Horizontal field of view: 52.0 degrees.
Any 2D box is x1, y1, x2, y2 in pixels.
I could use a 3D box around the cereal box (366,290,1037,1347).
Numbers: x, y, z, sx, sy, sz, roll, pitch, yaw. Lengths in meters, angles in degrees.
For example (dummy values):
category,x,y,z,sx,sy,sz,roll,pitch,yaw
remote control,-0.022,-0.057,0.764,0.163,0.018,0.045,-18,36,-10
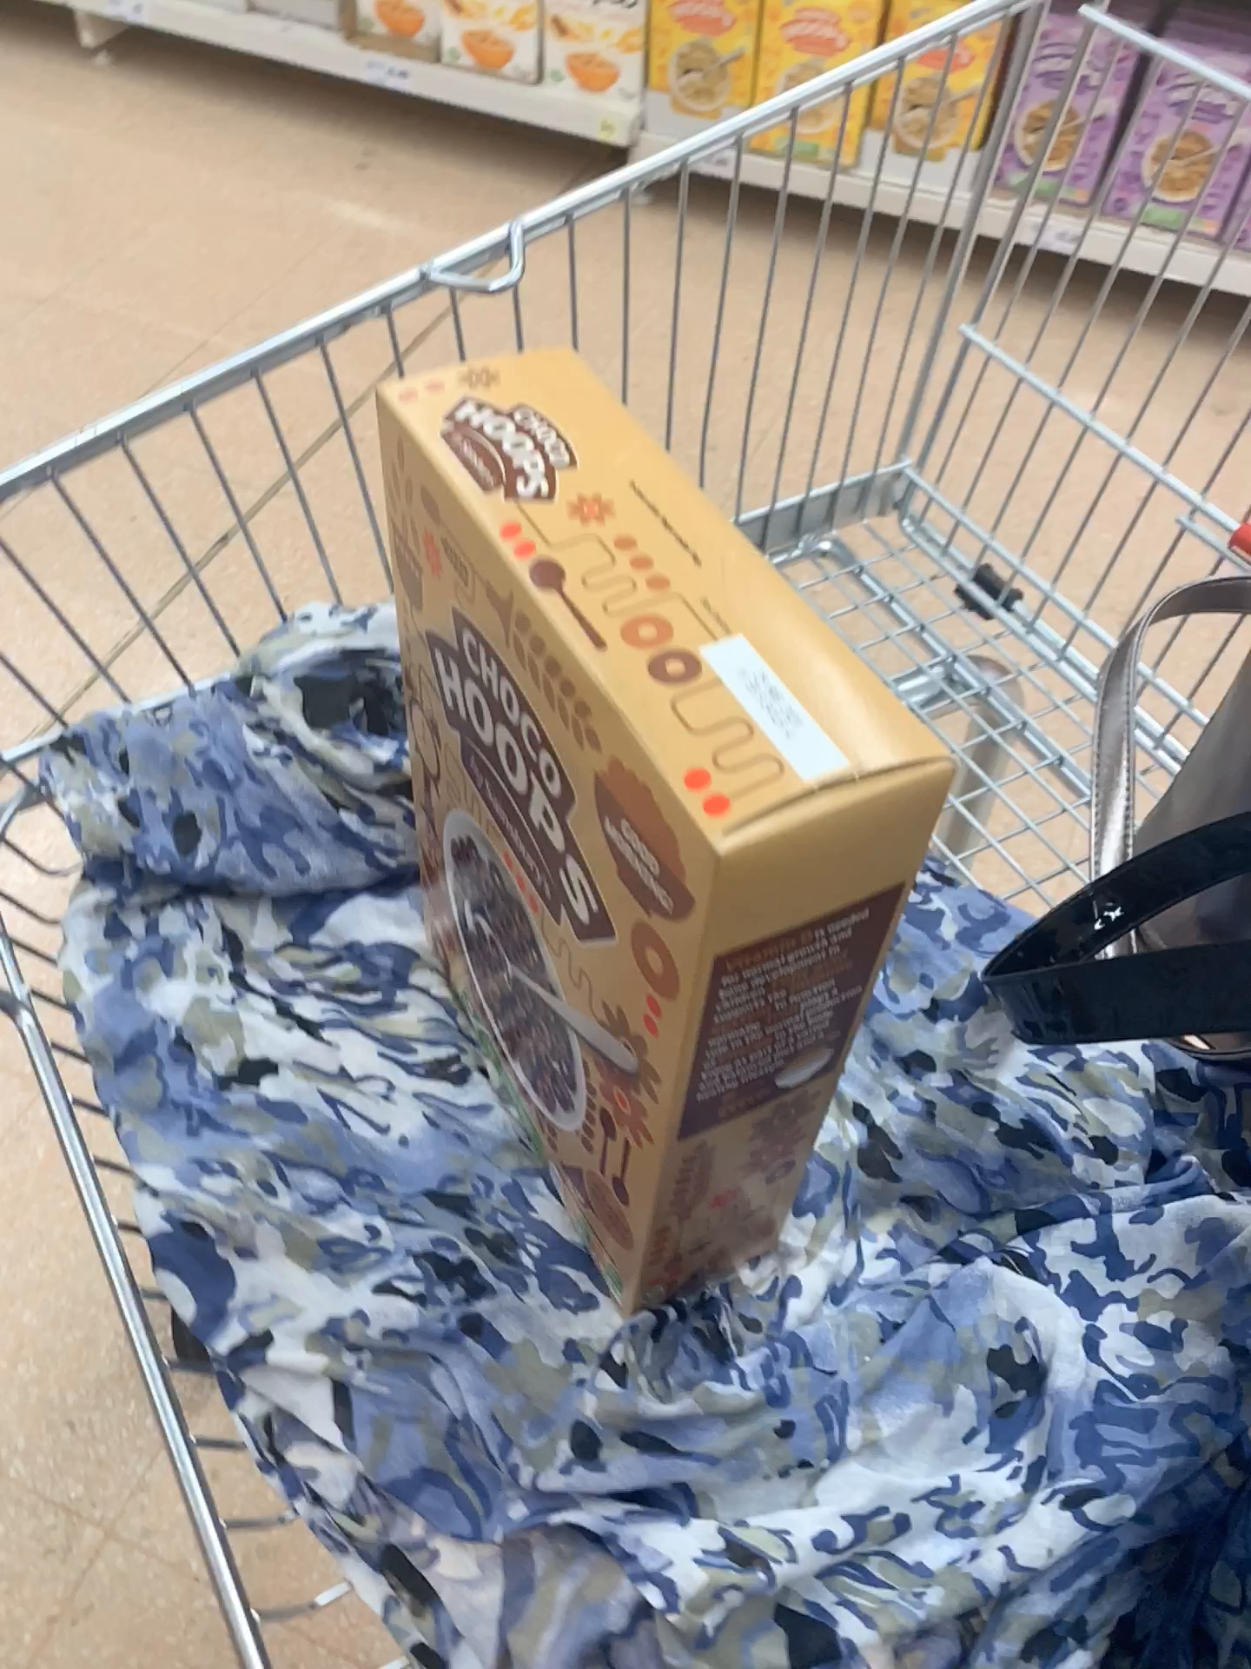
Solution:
category,x,y,z,sx,sy,sz,roll,pitch,yaw
cereal box,-0.004,0.013,0.445,0.070,0.298,0.221,-21,56,-21
